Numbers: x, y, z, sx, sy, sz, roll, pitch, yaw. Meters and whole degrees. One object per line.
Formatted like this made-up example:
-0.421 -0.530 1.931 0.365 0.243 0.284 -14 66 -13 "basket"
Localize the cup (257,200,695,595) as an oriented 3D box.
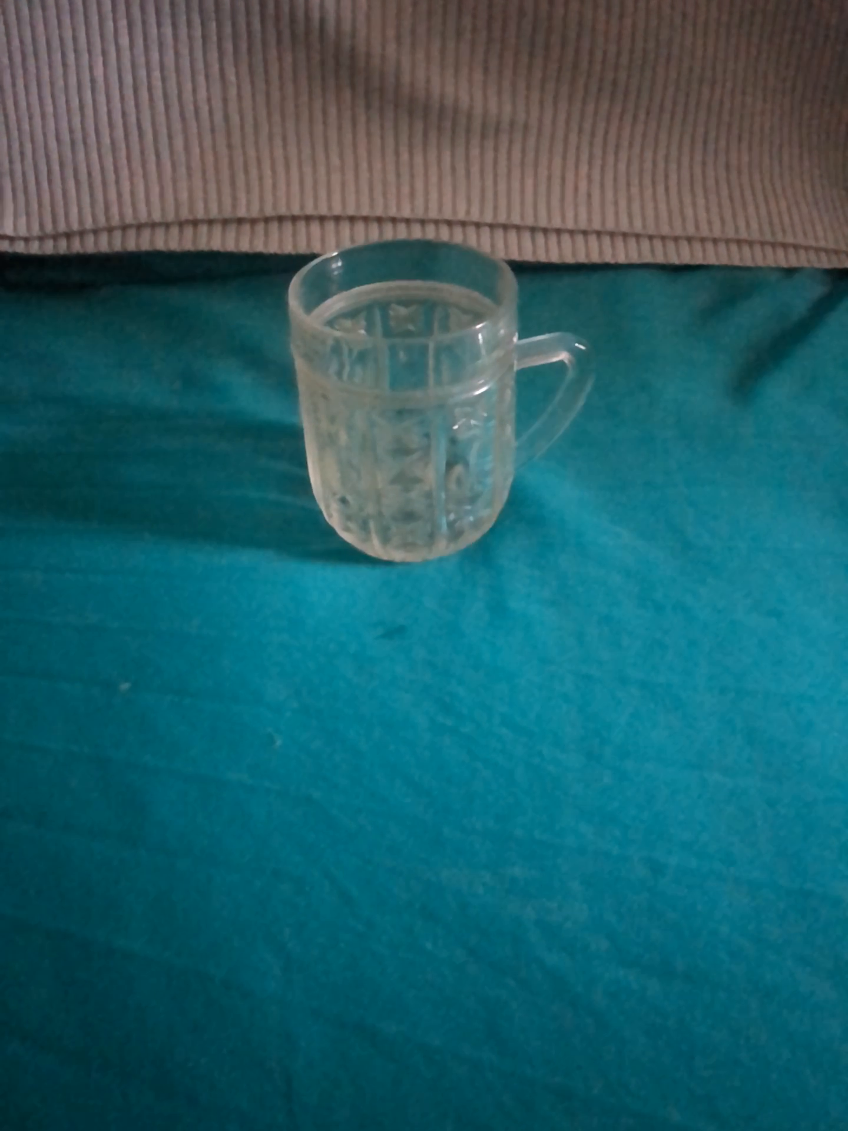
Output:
0.012 -0.052 0.287 0.104 0.076 0.064 -15 49 -15 "cup"
